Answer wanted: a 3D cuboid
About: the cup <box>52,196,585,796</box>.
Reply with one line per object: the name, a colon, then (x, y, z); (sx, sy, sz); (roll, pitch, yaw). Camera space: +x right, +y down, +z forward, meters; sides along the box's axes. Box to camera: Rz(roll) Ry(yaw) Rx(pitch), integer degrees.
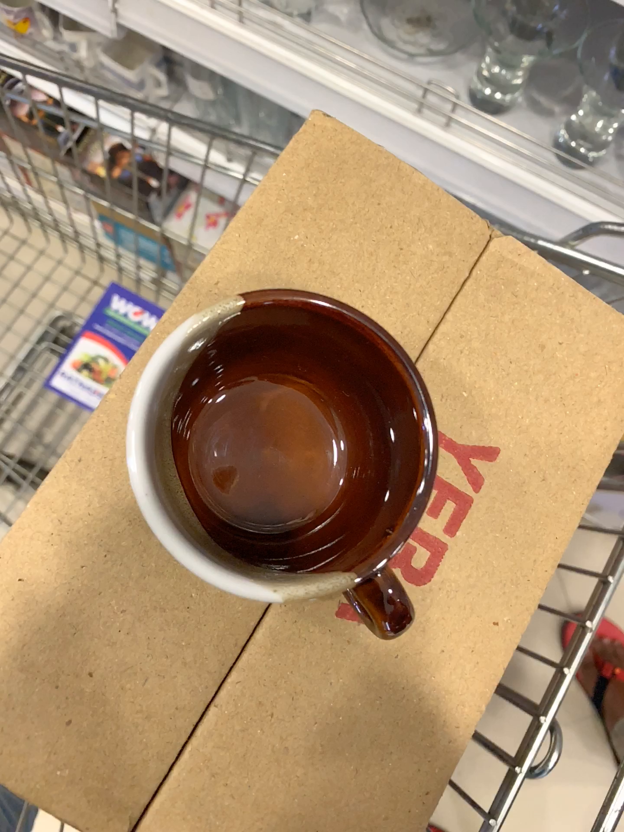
cup: (-0.001, 0.016, 0.157); (0.060, 0.060, 0.100); (-33, 88, -10)
